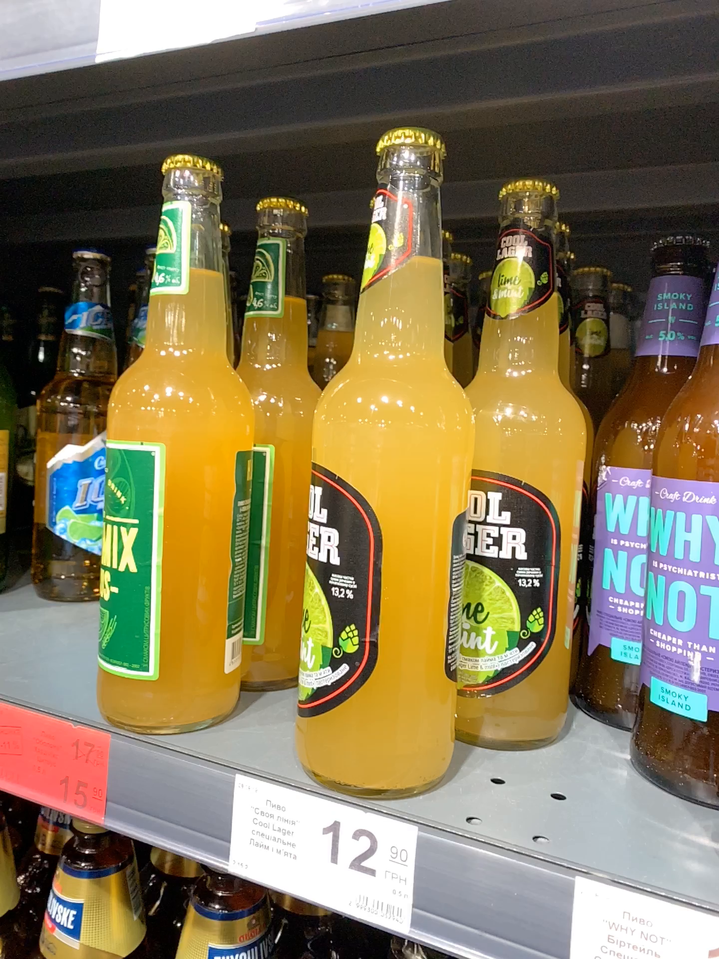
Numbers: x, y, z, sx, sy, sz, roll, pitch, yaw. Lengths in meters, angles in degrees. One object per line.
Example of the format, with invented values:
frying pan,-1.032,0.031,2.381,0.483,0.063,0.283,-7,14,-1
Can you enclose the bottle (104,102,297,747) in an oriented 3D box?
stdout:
bottle,-0.078,-0.022,0.349,0.064,0.260,0.078,1,4,-26

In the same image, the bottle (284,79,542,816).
bottle,0.017,-0.010,0.290,0.065,0.244,0.063,3,4,0

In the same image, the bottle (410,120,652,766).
bottle,0.075,-0.014,0.343,0.069,0.260,0.063,3,4,0
